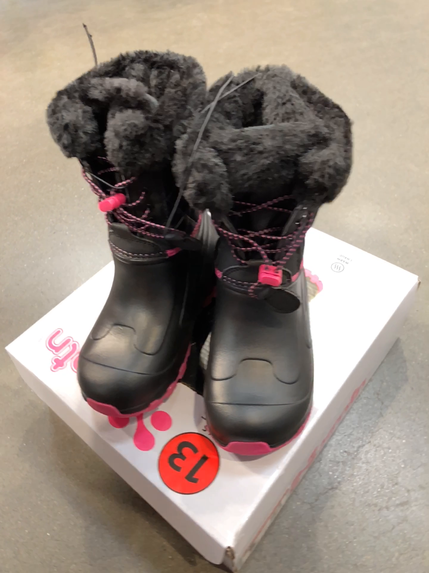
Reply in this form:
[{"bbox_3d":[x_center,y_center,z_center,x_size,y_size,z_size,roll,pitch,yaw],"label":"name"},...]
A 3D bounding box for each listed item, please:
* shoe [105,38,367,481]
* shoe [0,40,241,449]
[{"bbox_3d":[0.035,-0.015,0.353,0.110,0.229,0.221,6,51,10],"label":"shoe"},{"bbox_3d":[-0.068,-0.032,0.375,0.110,0.209,0.221,14,53,16],"label":"shoe"}]
